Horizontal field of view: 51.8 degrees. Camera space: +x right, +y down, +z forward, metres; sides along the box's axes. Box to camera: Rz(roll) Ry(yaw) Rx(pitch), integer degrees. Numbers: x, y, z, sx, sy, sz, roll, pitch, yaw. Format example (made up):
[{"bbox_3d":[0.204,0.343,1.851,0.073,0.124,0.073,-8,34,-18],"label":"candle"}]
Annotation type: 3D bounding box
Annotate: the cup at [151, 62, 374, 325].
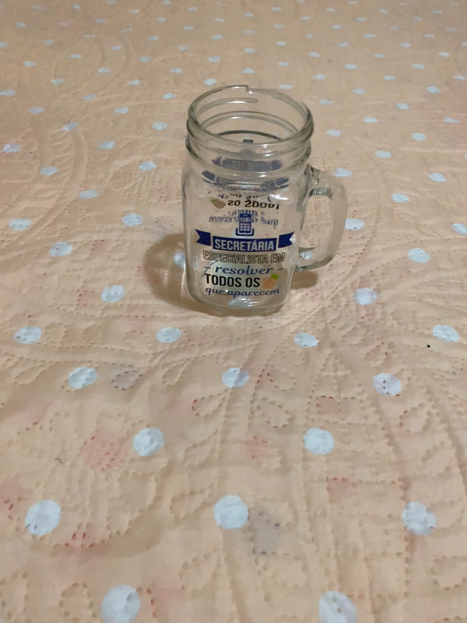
[{"bbox_3d":[0.015,-0.067,0.286,0.100,0.119,0.080,6,46,3],"label":"cup"}]
